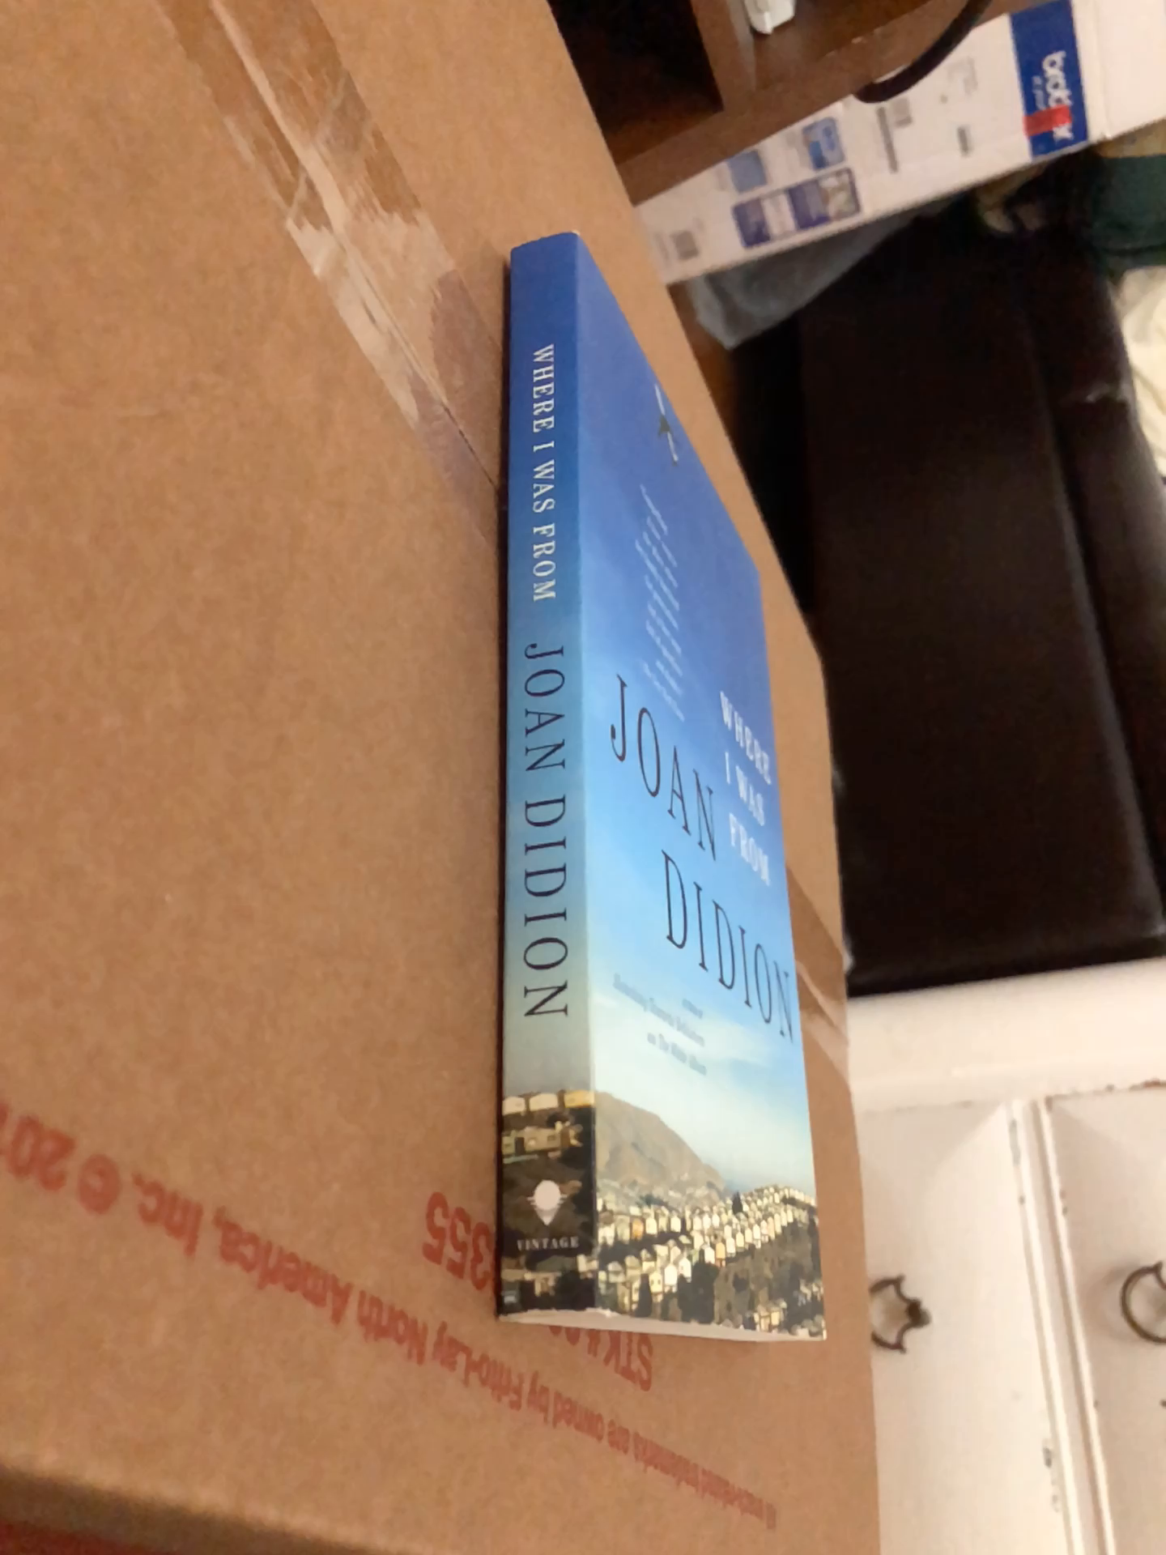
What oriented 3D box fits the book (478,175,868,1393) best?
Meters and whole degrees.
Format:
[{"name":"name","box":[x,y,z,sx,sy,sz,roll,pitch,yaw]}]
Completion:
[{"name":"book","box":[0.020,0.008,0.266,0.140,0.020,0.210,44,39,-57]}]
